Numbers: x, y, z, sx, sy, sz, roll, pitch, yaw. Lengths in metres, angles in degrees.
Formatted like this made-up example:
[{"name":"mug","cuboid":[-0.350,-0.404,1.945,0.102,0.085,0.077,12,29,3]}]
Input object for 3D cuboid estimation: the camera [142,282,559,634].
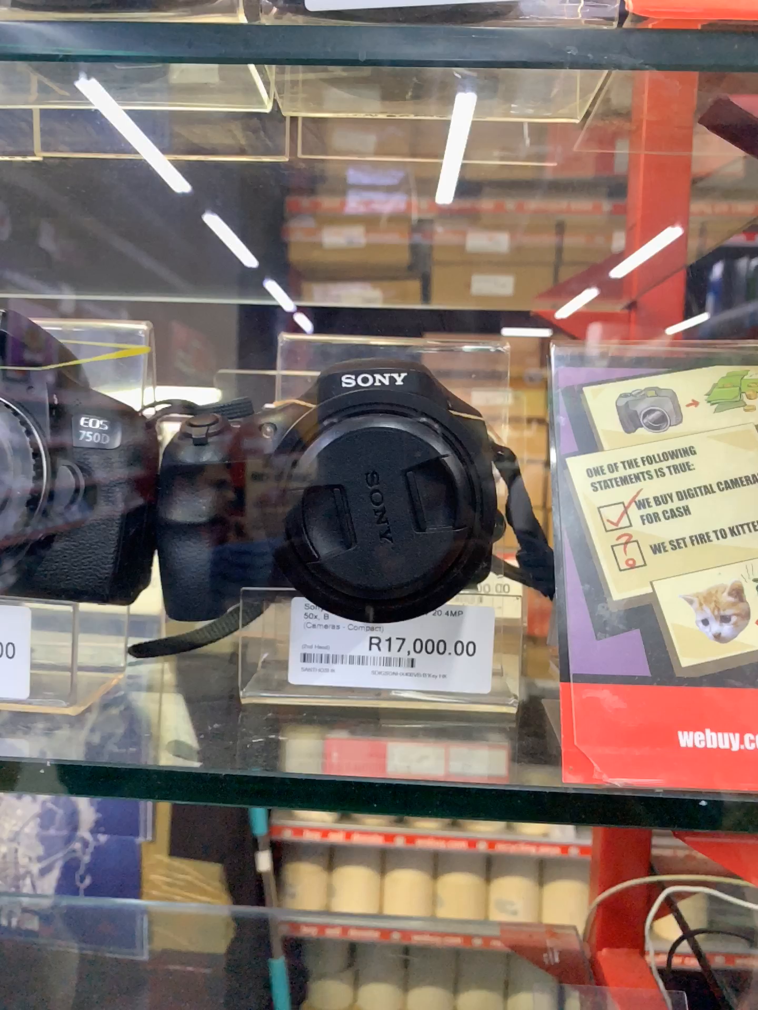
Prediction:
[{"name":"camera","cuboid":[-0.010,-0.016,0.278,0.120,0.100,0.090,2,4,-2]}]
